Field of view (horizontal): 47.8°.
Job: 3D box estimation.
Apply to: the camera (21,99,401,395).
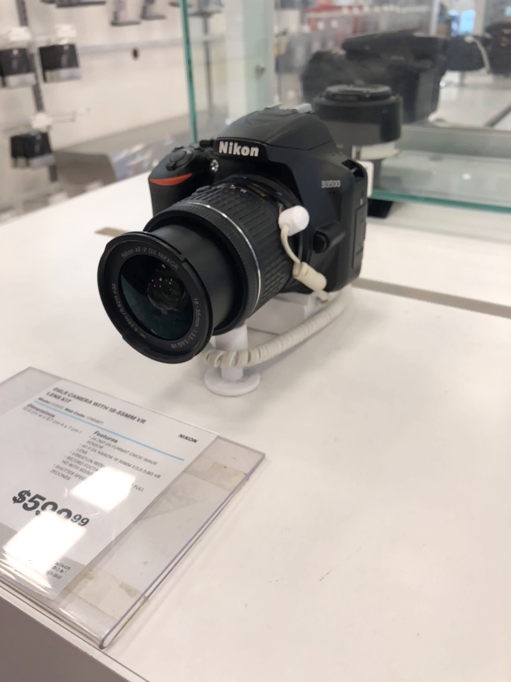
[{"bbox_3d":[-0.010,-0.070,0.323,0.120,0.100,0.170,16,33,29],"label":"camera"}]
